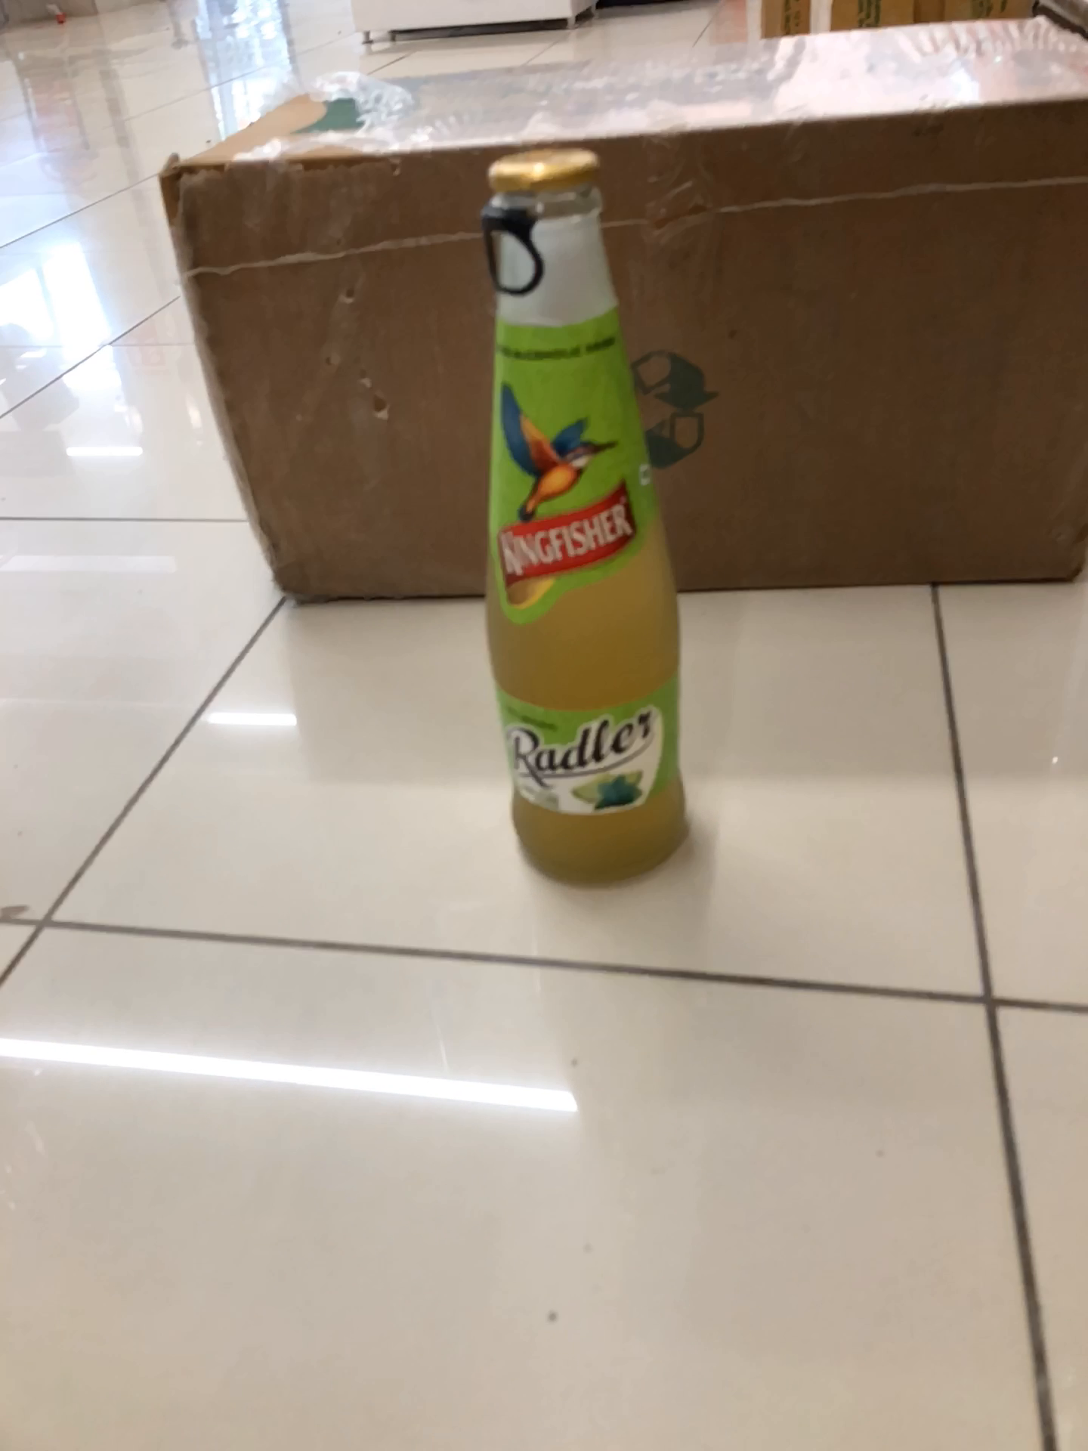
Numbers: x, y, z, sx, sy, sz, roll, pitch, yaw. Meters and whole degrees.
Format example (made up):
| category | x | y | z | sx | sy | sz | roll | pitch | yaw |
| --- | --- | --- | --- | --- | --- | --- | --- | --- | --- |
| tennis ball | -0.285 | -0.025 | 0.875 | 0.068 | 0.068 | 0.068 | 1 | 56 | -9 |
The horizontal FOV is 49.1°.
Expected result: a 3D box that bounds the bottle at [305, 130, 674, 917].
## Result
| category | x | y | z | sx | sy | sz | roll | pitch | yaw |
| --- | --- | --- | --- | --- | --- | --- | --- | --- | --- |
| bottle | -0.003 | -0.045 | 0.335 | 0.070 | 0.209 | 0.060 | 1 | 35 | 11 |
